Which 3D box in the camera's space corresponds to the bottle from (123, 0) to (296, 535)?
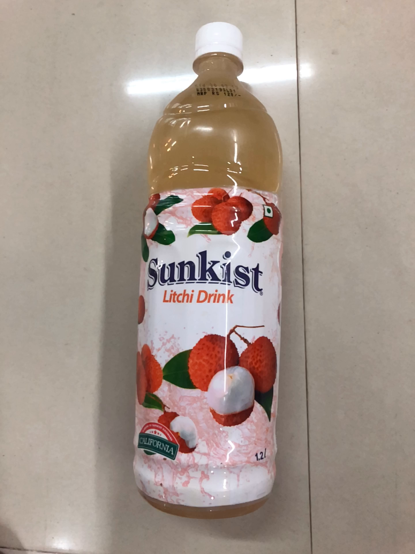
[{"bbox_3d":[0.008,-0.017,0.291,0.090,0.080,0.300,1,88,11],"label":"bottle"}]
